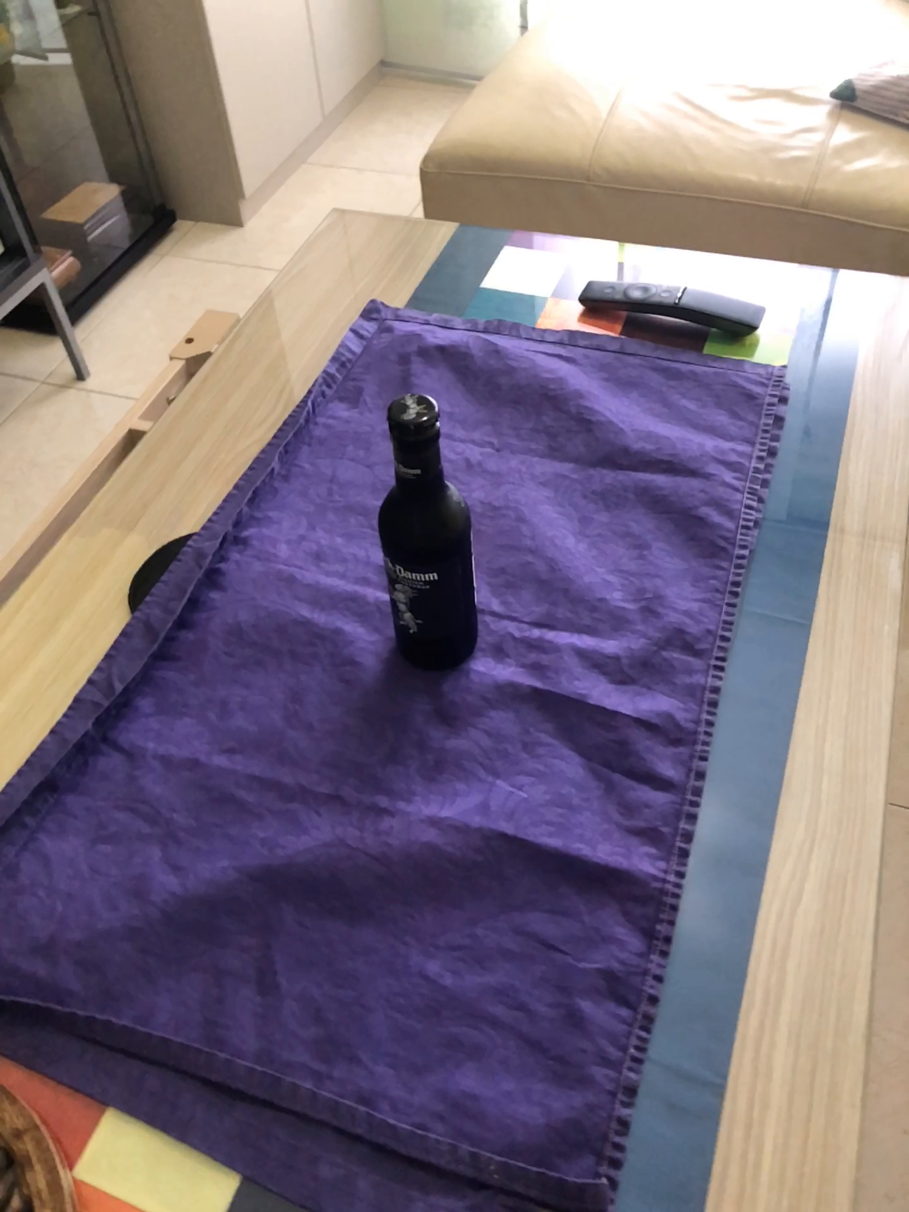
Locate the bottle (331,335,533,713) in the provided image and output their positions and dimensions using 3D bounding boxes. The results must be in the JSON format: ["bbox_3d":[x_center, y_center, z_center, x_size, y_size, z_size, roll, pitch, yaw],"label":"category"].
[{"bbox_3d":[-0.006,-0.038,0.563,0.070,0.199,0.070,-2,48,2],"label":"bottle"}]
